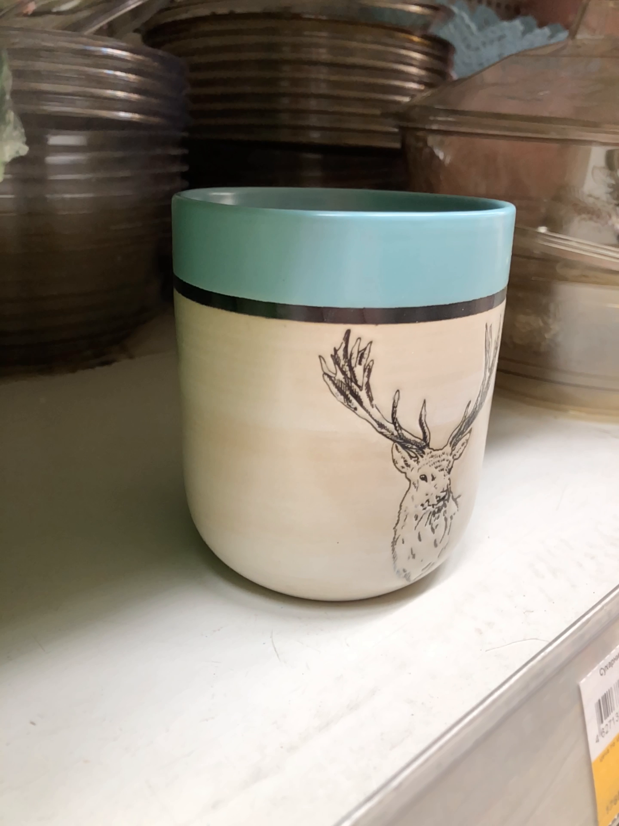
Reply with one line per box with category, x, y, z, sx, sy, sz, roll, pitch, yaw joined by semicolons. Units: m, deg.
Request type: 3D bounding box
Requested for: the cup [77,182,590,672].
cup;0.013;-0.015;0.217;0.093;0.103;0.124;17;25;35
